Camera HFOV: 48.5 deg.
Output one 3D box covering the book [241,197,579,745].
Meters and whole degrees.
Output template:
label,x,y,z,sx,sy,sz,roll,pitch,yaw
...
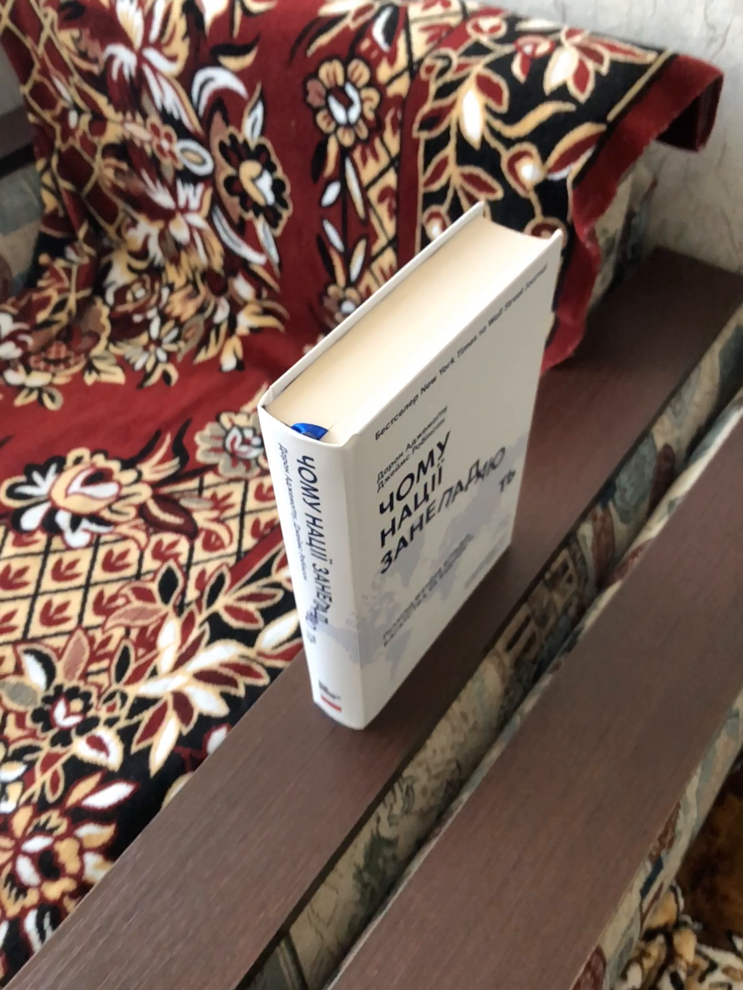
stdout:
label,x,y,z,sx,sy,sz,roll,pitch,yaw
book,0.024,0.001,0.377,0.042,0.212,0.151,29,58,24
